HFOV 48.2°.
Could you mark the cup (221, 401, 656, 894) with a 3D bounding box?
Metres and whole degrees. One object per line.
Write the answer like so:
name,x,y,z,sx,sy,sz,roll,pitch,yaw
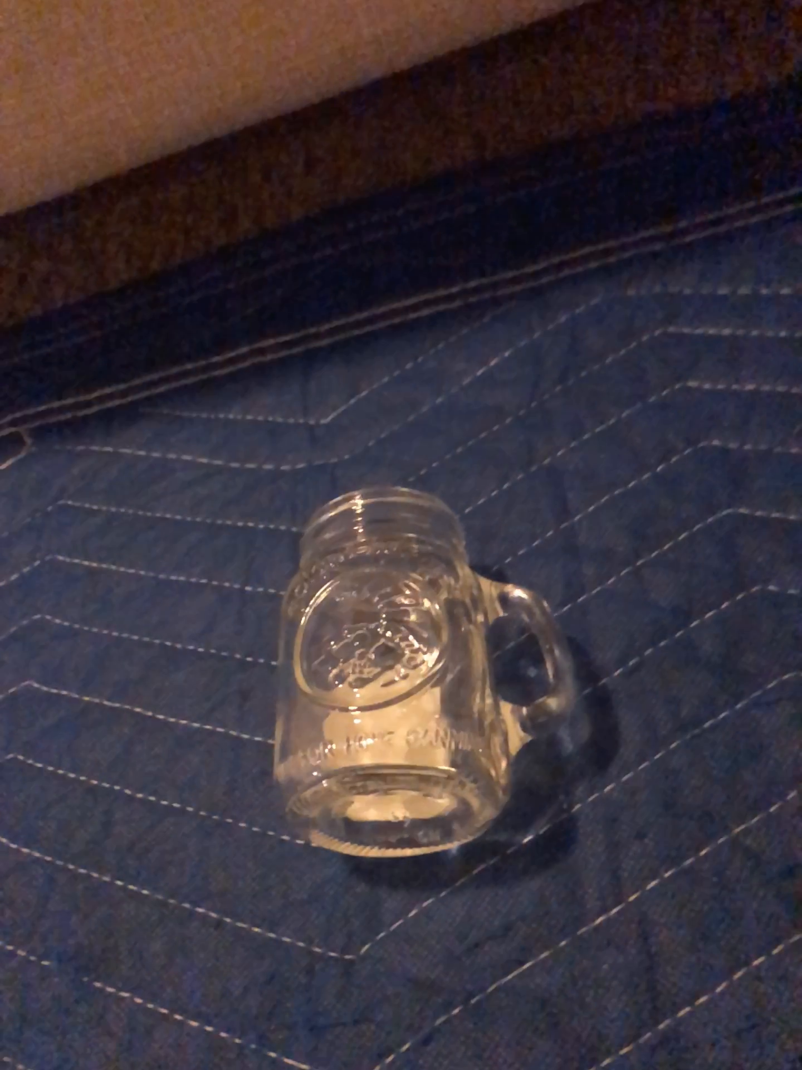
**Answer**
cup,0.005,0.028,0.224,0.088,0.043,0.095,-10,57,15
